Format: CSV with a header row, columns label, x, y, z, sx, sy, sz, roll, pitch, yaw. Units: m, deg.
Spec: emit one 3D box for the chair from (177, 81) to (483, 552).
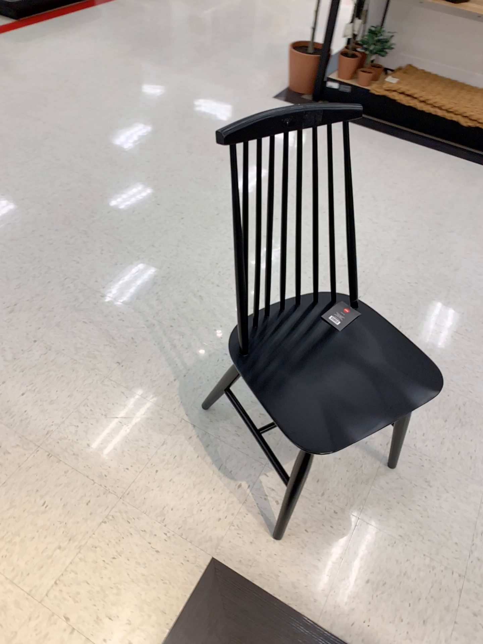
label,x,y,z,sx,sy,sz,roll,pitch,yaw
chair,0.199,0.023,1.233,0.531,0.945,0.552,-19,51,-23
